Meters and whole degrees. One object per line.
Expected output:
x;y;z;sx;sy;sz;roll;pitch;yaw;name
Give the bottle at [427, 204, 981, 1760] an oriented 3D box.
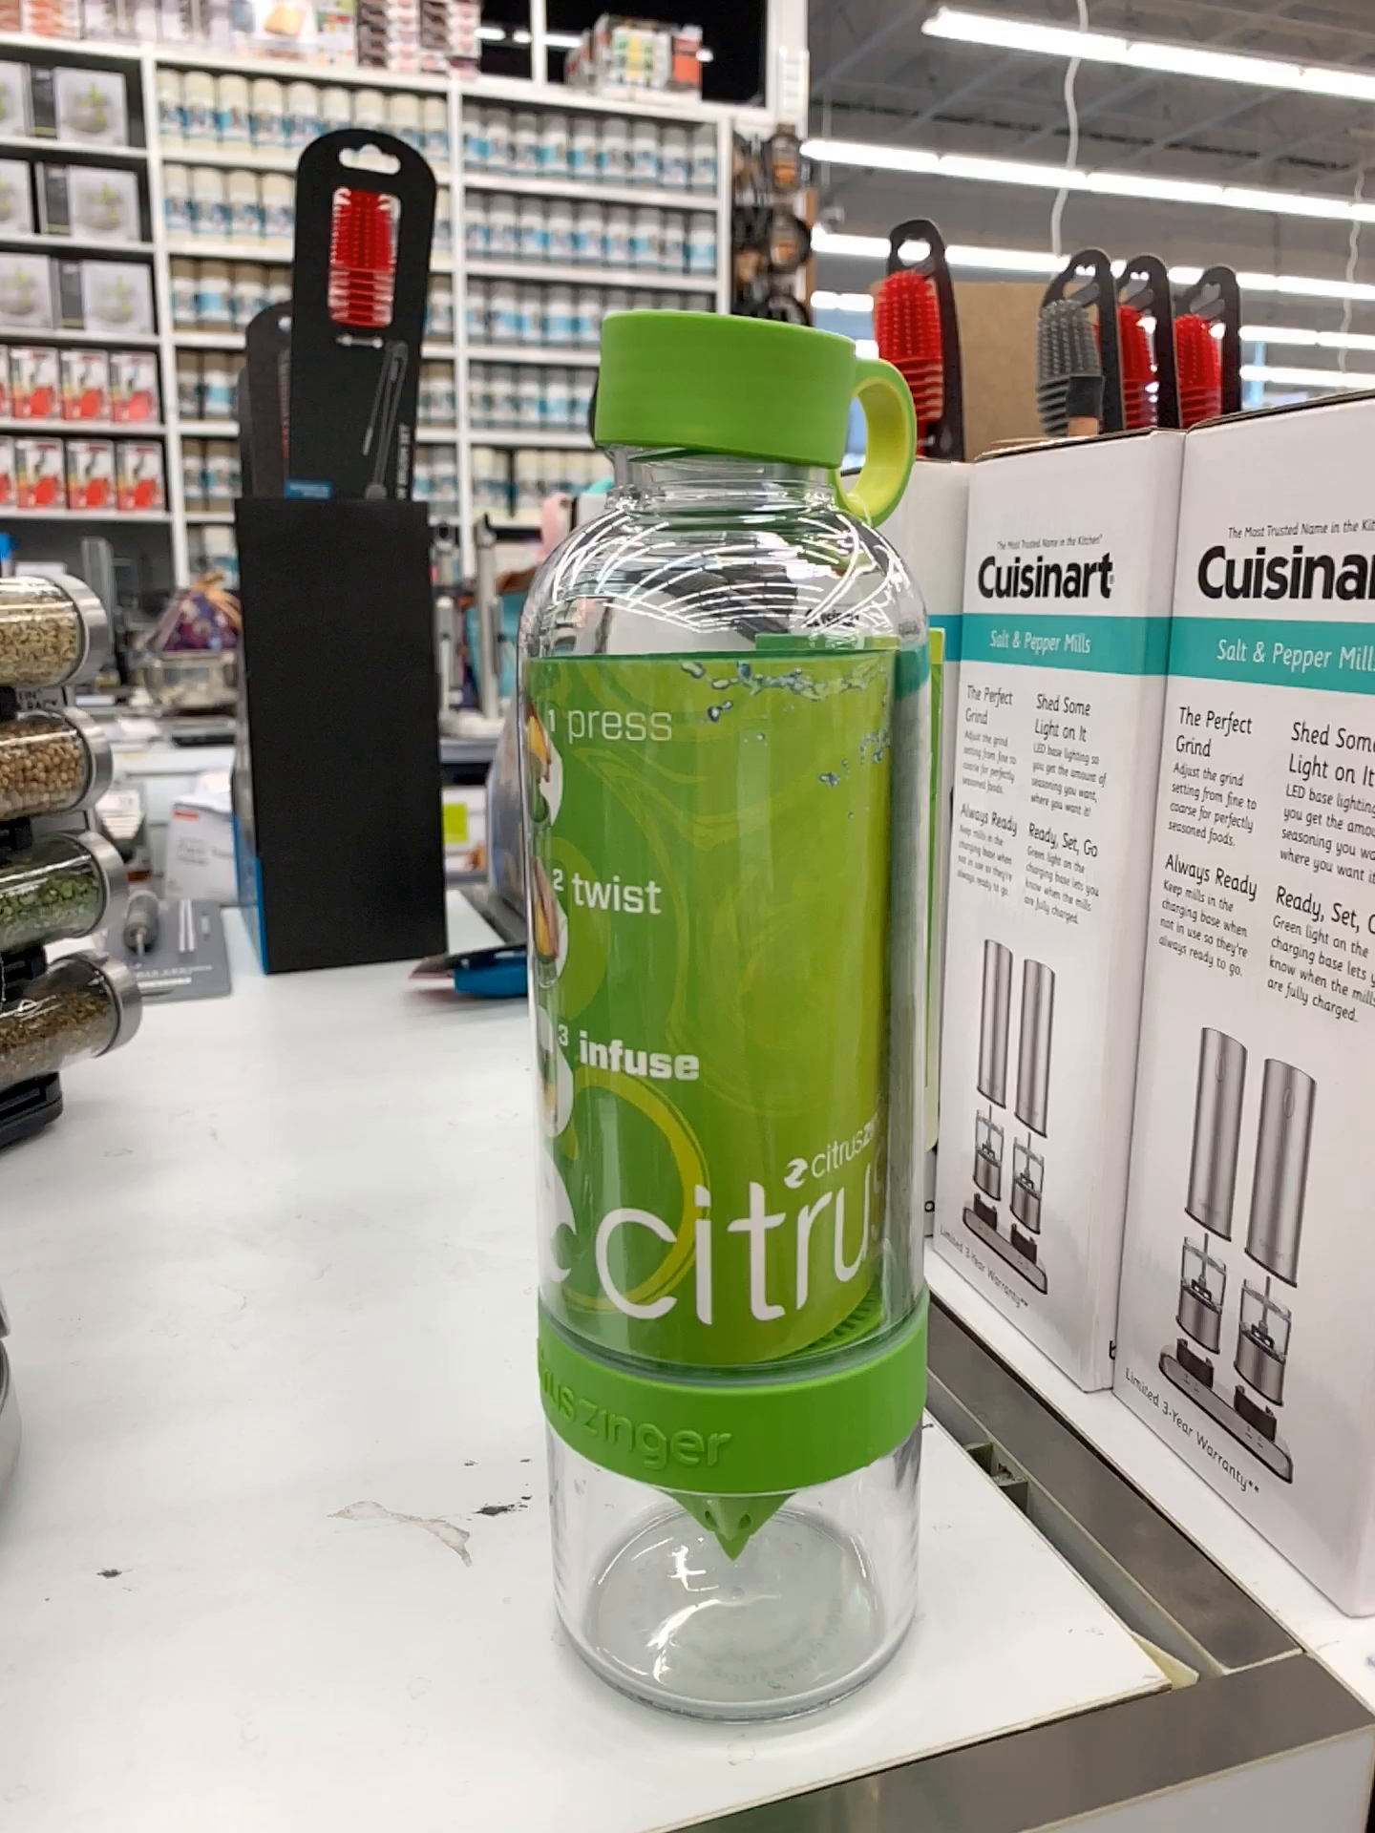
0.009;0.013;0.271;0.078;0.251;0.081;0;12;0;bottle
